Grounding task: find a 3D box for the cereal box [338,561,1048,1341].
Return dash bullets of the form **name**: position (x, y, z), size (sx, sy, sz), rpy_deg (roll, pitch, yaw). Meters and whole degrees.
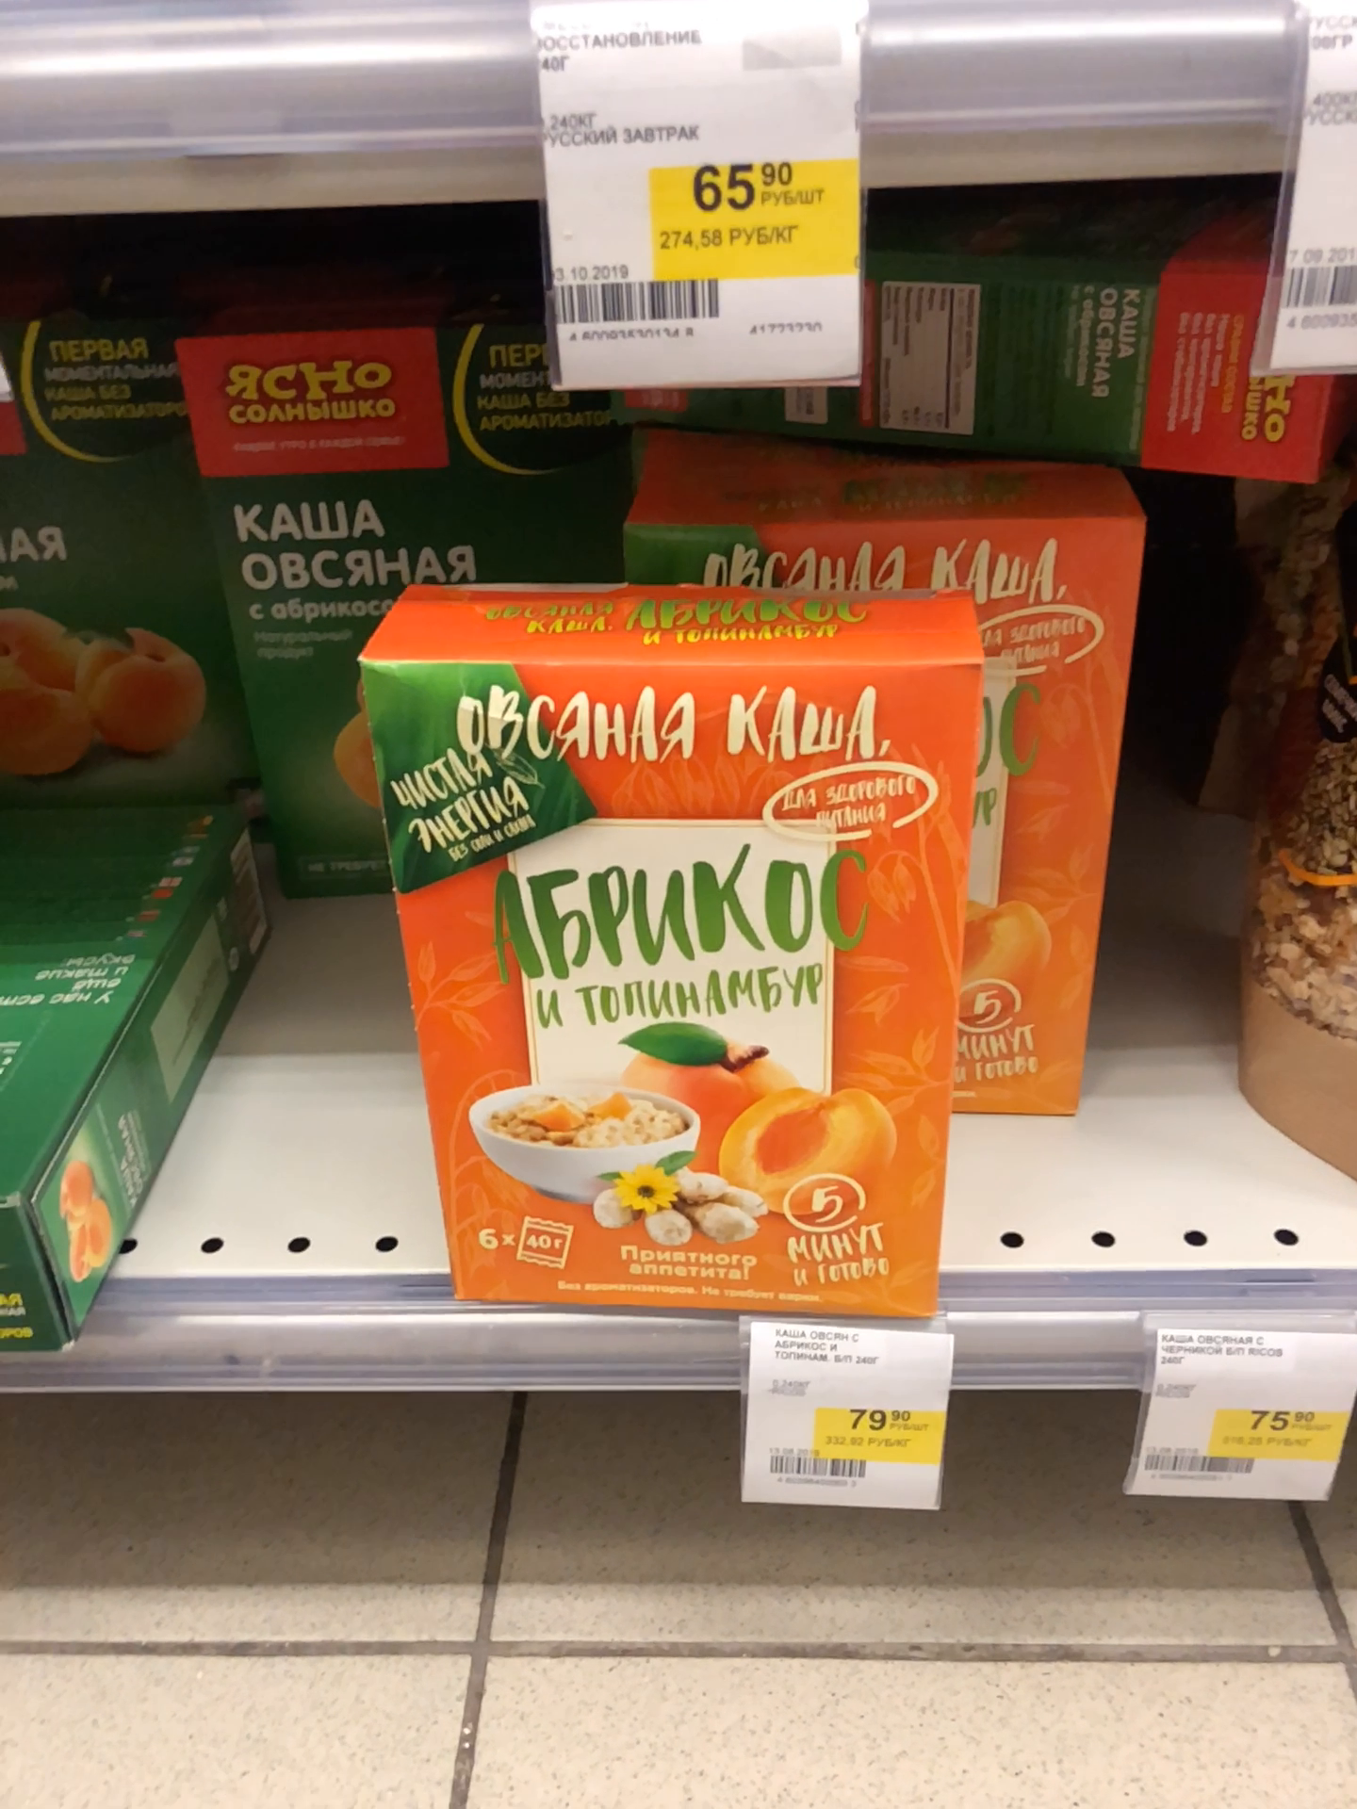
- **cereal box**: position (0.008, 0.017, 0.364), size (0.140, 0.189, 0.050), rpy_deg (1, 31, 6)
